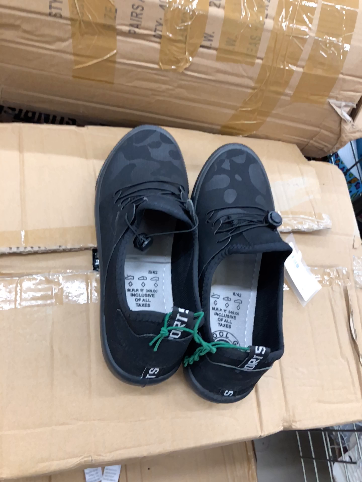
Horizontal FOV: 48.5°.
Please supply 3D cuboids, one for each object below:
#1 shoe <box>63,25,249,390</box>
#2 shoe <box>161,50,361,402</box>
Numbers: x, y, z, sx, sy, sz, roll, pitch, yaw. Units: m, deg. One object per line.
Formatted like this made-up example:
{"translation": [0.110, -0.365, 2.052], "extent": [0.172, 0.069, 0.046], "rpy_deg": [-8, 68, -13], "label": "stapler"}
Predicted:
{"translation": [-0.030, -0.030, 0.383], "extent": [0.120, 0.129, 0.311], "rpy_deg": [7, 63, -15], "label": "shoe"}
{"translation": [0.060, -0.015, 0.408], "extent": [0.120, 0.129, 0.321], "rpy_deg": [8, 63, -14], "label": "shoe"}
